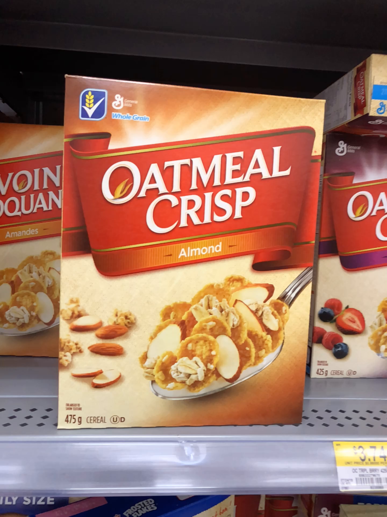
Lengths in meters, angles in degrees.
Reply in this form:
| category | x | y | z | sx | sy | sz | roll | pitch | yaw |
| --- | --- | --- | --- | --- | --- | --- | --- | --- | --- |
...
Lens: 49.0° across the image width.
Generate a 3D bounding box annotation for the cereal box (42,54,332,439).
| category | x | y | z | sx | sy | sz | roll | pitch | yaw |
| --- | --- | --- | --- | --- | --- | --- | --- | --- | --- |
| cereal box | -0.007 | -0.003 | 0.350 | 0.210 | 0.280 | 0.050 | 2 | 4 | -9 |
